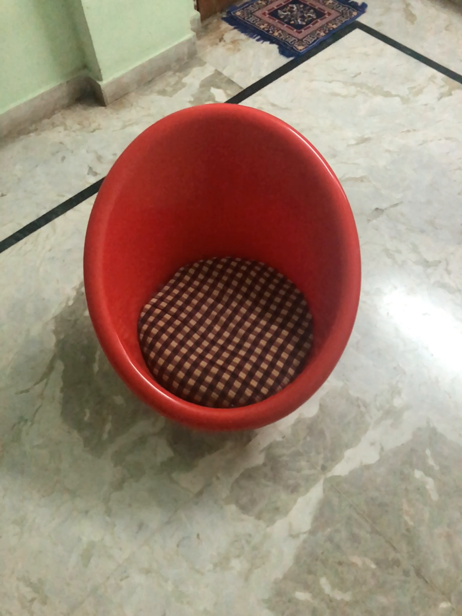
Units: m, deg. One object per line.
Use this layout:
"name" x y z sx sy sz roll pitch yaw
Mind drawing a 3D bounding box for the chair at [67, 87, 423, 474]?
"chair" -0.019 -0.064 1.277 0.620 0.507 0.744 -8 59 -3
